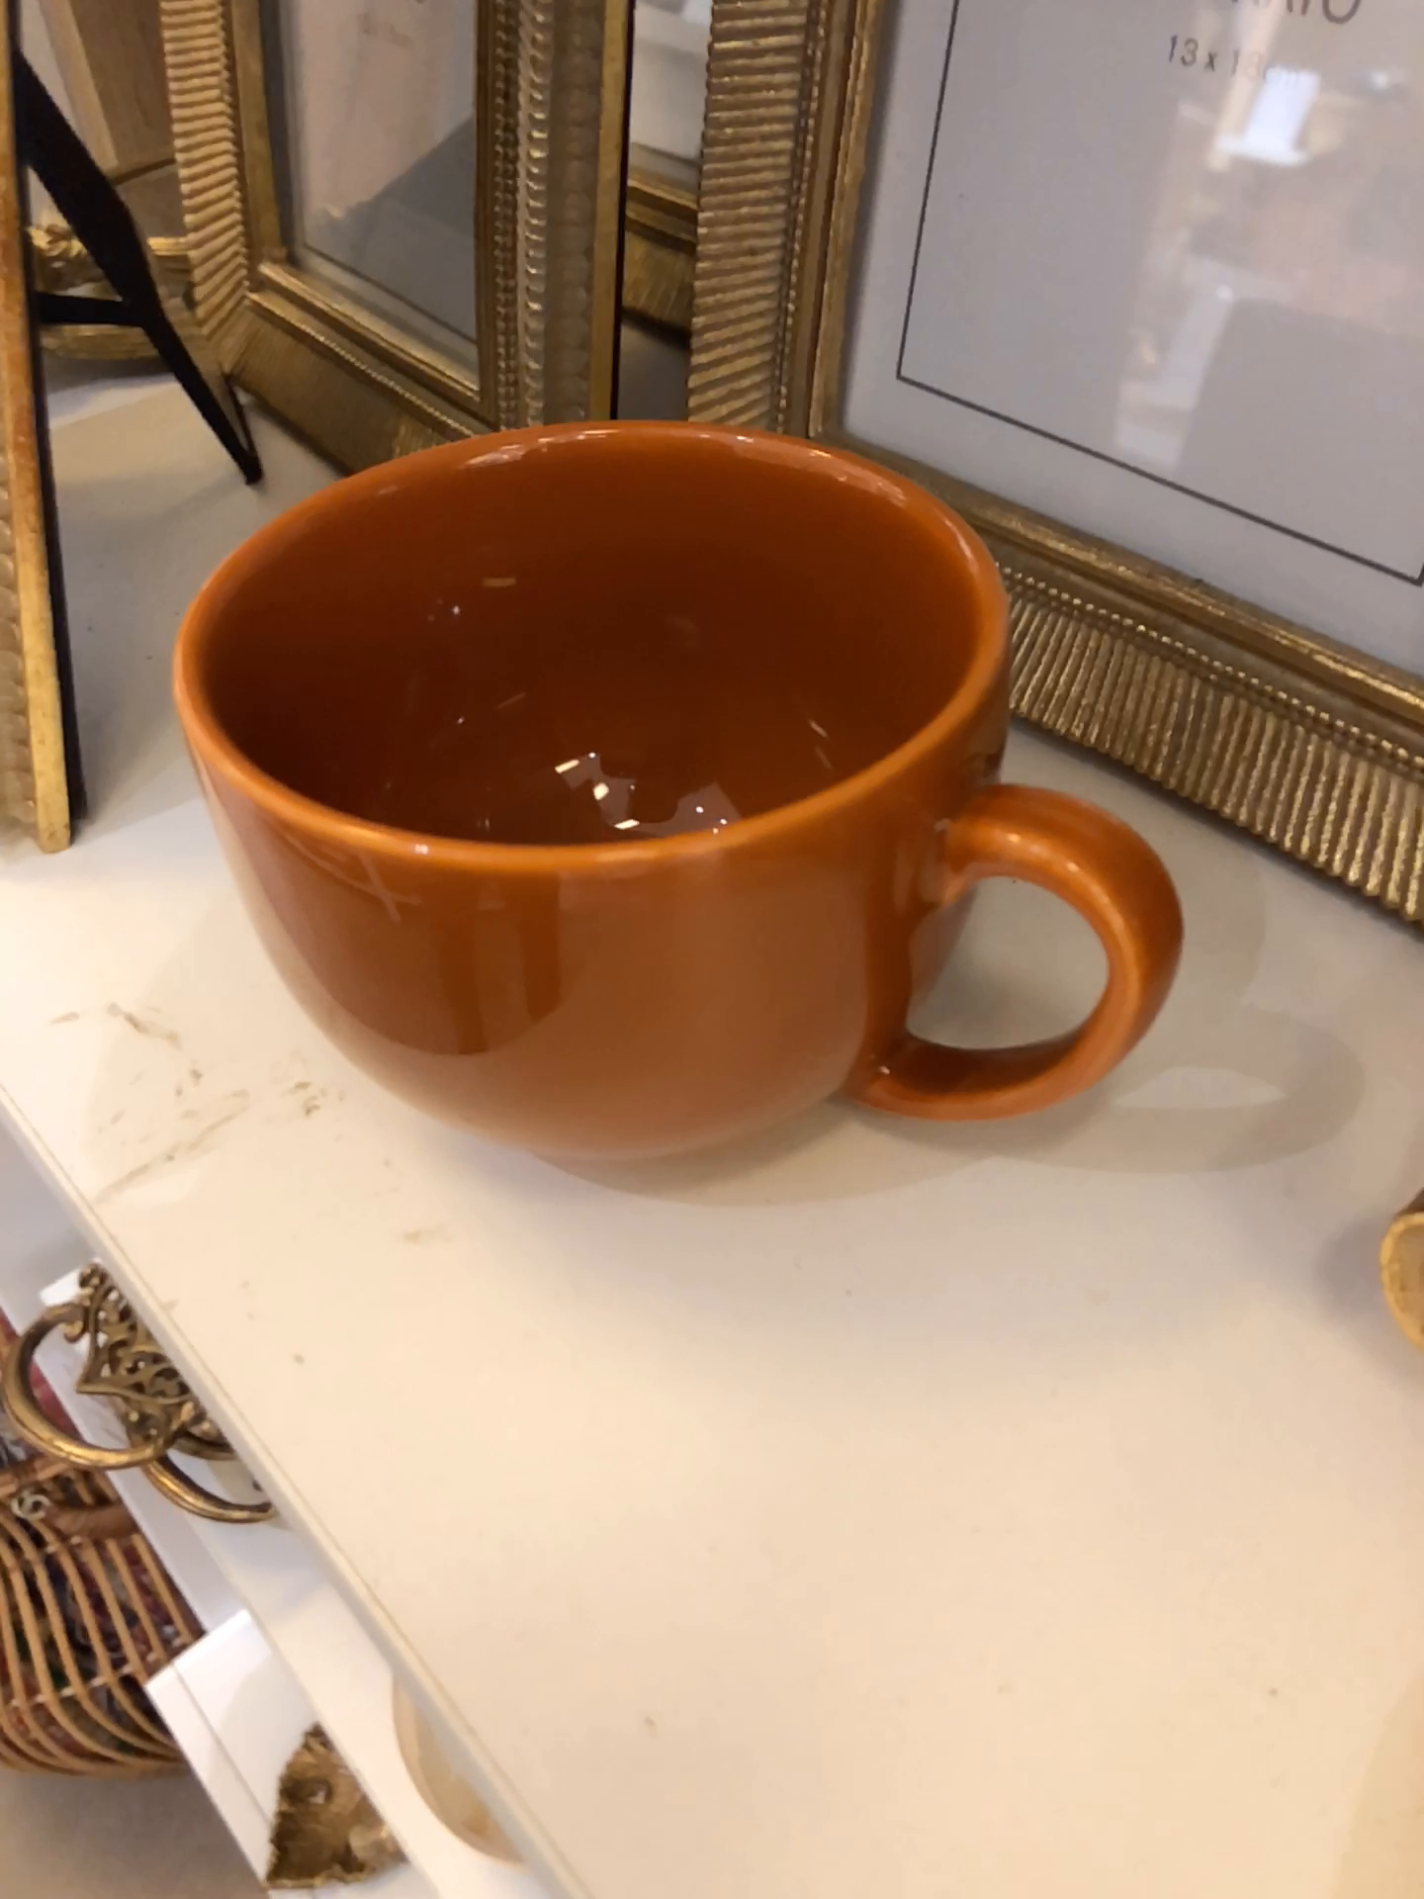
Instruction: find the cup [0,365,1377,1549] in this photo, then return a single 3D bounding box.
[{"bbox_3d":[-0.004,-0.011,0.187,0.120,0.060,0.090,23,50,27],"label":"cup"}]
